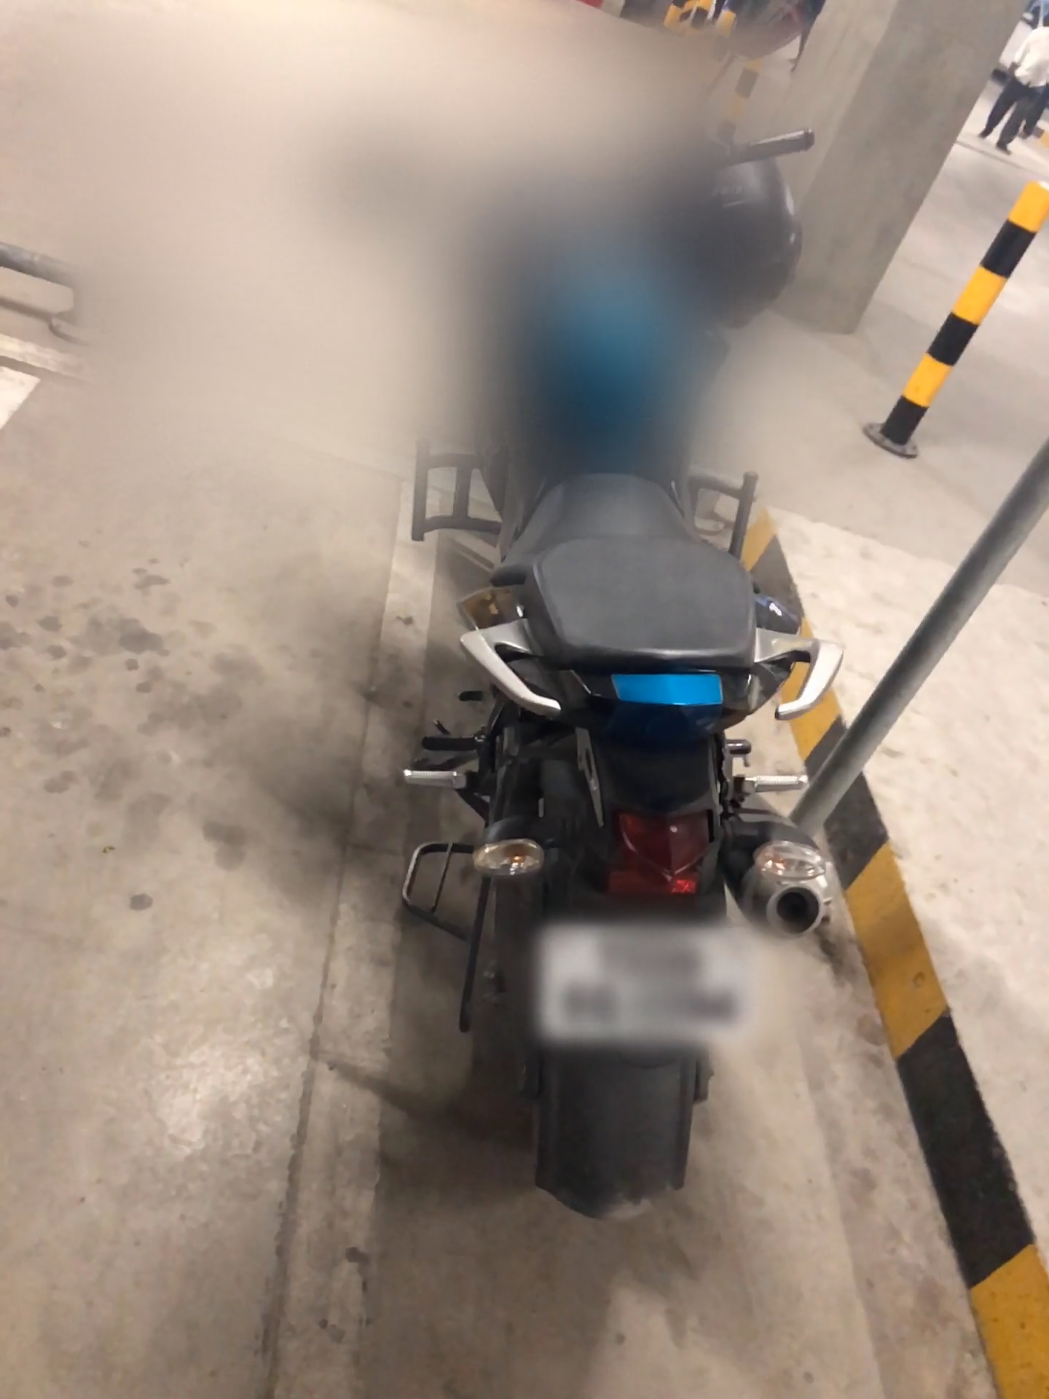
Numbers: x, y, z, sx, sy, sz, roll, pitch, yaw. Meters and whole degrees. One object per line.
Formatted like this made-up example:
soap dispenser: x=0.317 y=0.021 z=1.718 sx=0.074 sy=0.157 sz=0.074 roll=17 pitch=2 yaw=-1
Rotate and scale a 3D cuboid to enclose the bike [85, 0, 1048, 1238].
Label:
bike: x=-0.020 y=-0.250 z=1.556 sx=0.767 sy=0.950 sz=1.421 roll=11 pitch=38 yaw=-16
